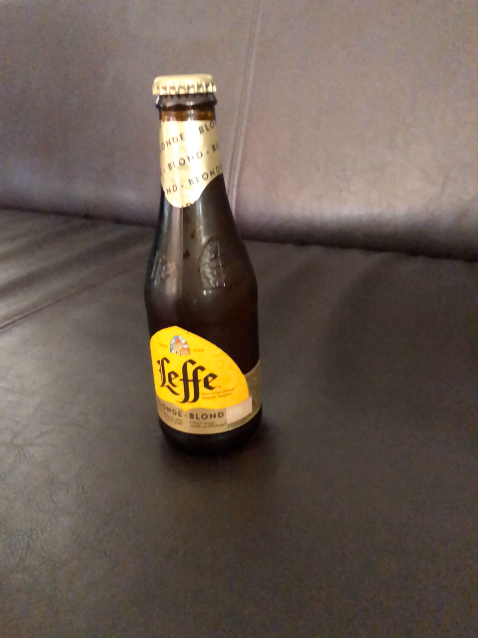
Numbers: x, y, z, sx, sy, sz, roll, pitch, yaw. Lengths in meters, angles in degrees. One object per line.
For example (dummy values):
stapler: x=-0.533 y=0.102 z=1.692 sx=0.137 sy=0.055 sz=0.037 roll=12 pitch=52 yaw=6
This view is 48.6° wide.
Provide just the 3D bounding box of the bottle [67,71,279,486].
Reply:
bottle: x=-0.022 y=-0.016 z=0.264 sx=0.060 sy=0.189 sz=0.060 roll=-4 pitch=25 yaw=2
